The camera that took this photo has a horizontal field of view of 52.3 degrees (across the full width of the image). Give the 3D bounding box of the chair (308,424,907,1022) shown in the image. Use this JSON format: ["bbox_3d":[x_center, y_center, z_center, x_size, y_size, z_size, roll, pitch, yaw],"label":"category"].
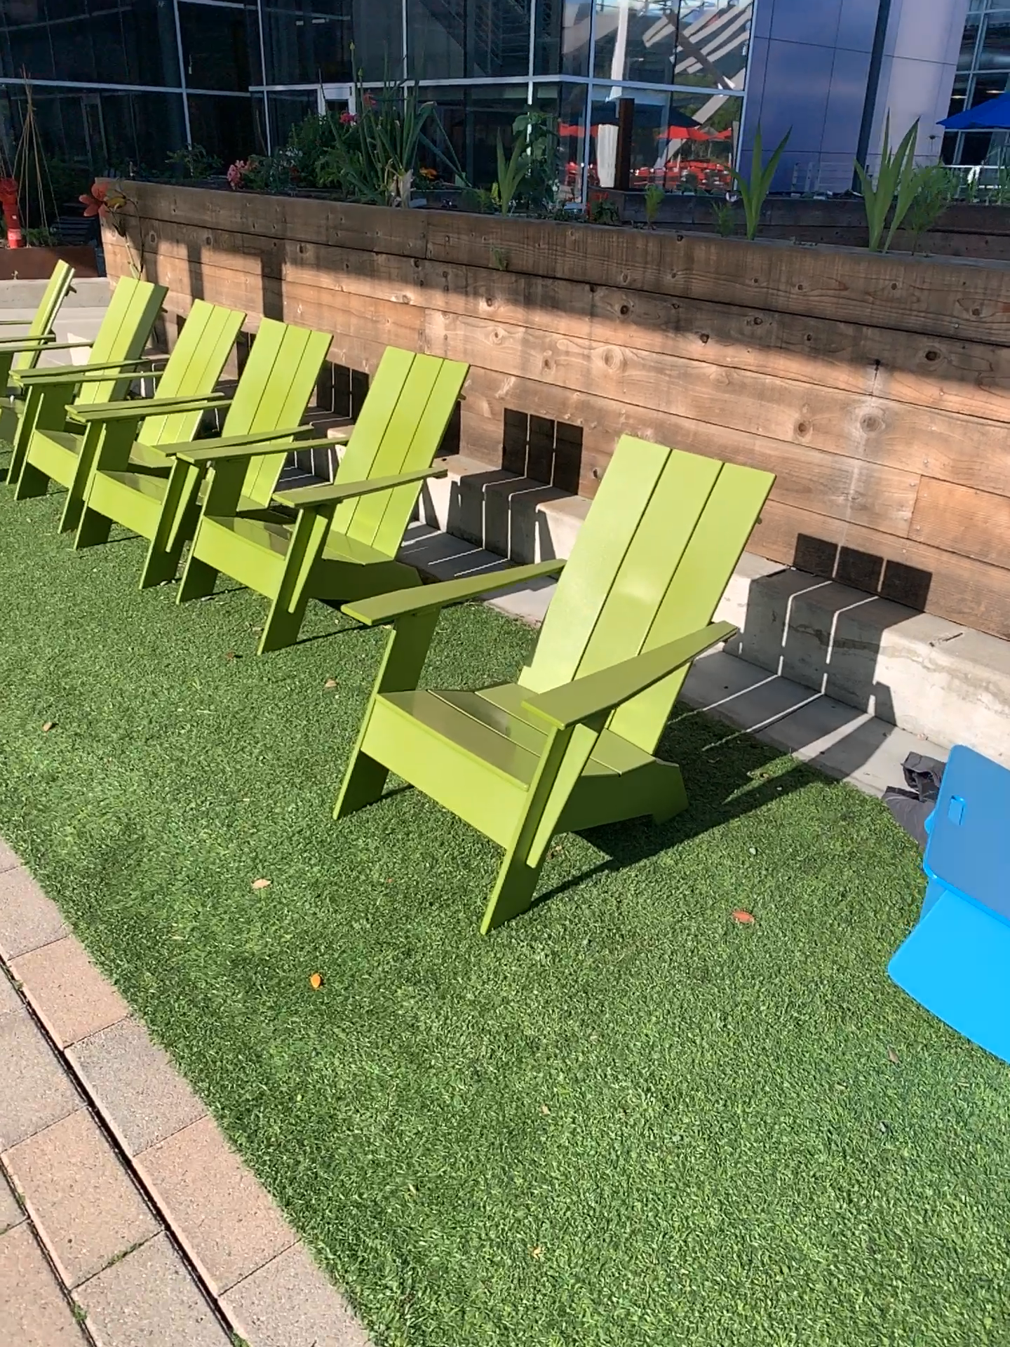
[{"bbox_3d":[0.215,0.007,2.450,1.001,0.895,0.854,-20,34,-36],"label":"chair"}]
